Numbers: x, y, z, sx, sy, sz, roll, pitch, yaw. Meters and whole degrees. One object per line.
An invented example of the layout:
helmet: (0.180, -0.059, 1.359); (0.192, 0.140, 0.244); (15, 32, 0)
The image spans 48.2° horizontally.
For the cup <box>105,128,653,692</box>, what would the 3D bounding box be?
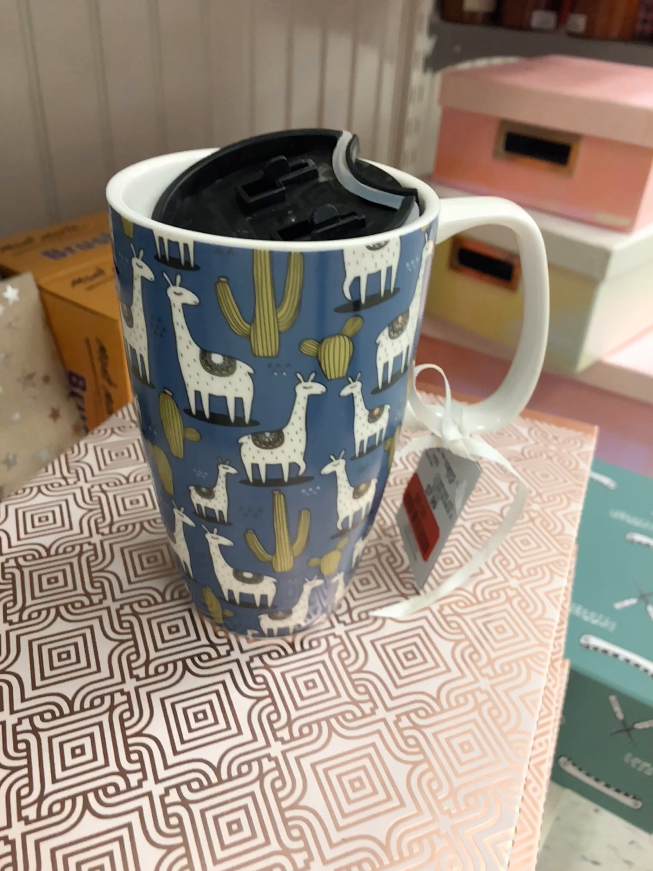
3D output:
cup: (0.004, -0.013, 0.229); (0.125, 0.138, 0.090); (-6, 35, -14)
